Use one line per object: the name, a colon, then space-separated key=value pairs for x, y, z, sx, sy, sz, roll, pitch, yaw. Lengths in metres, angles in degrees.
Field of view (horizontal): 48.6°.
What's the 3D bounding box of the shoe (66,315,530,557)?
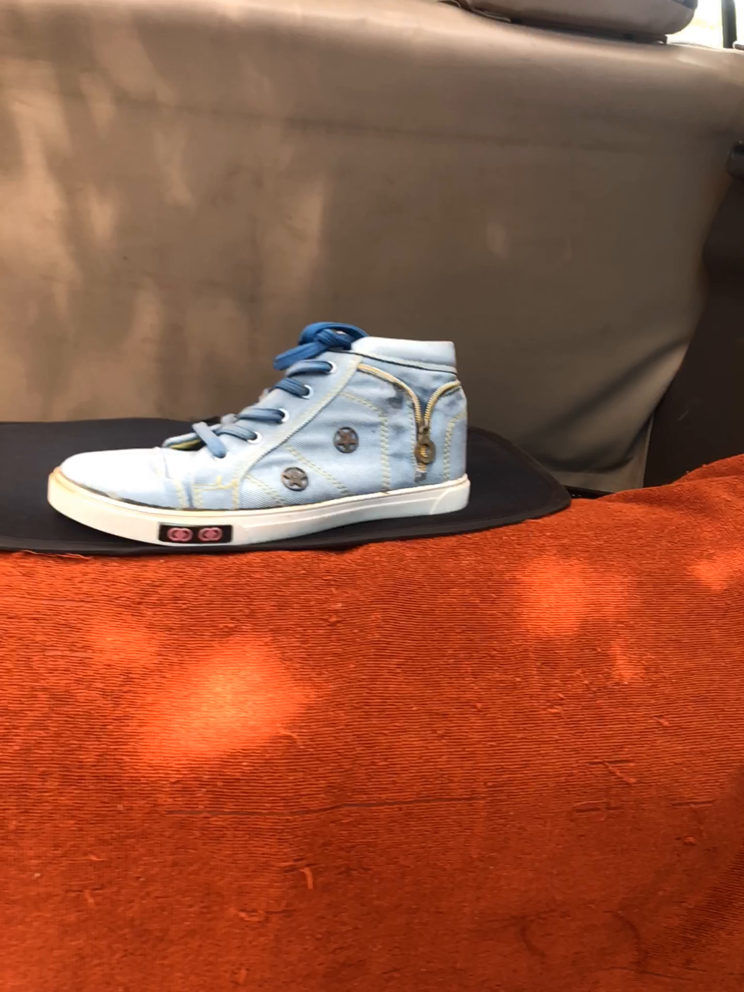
shoe: x=-0.046 y=-0.046 z=0.519 sx=0.261 sy=0.110 sz=0.110 roll=-4 pitch=20 yaw=-28
